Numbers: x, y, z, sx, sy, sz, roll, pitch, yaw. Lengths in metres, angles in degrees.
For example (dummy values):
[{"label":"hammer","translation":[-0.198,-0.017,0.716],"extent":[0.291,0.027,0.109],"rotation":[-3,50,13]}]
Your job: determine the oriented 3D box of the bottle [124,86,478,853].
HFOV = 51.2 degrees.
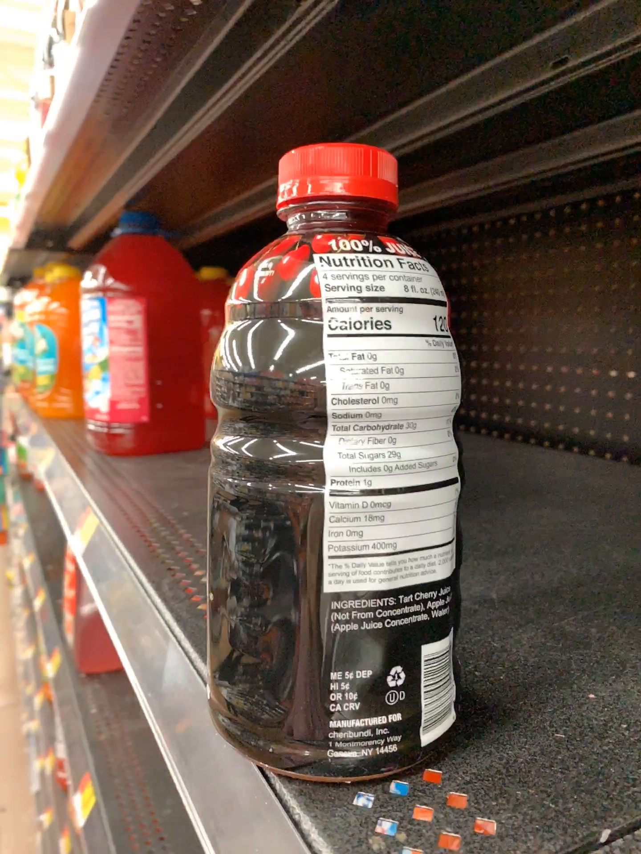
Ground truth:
[{"label":"bottle","translation":[0.003,0.011,0.234],"extent":[0.090,0.205,0.095],"rotation":[-1,8,0]}]
